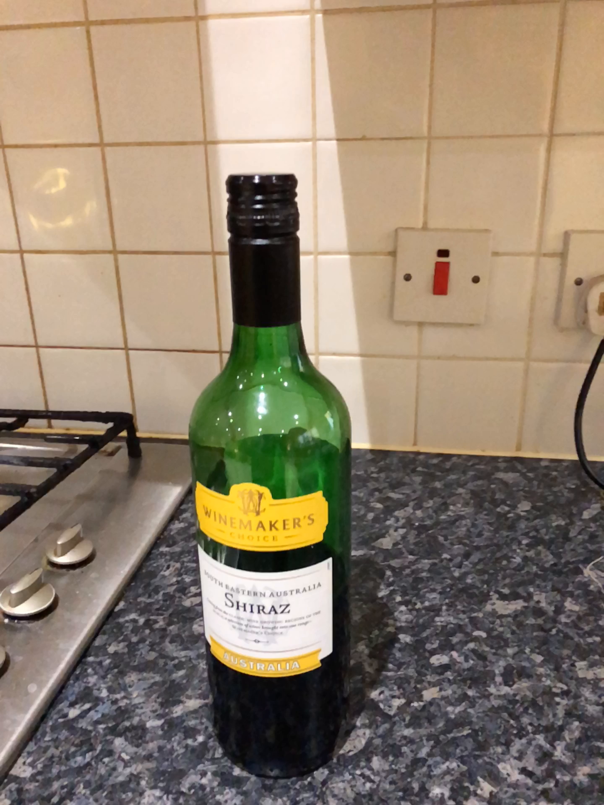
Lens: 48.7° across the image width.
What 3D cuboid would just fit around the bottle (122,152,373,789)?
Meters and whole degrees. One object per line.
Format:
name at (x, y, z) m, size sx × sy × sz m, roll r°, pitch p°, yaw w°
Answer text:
bottle at (-0.013, 0.035, 0.308) m, size 0.080 × 0.278 × 0.080 m, roll -1°, pitch 21°, yaw 0°
